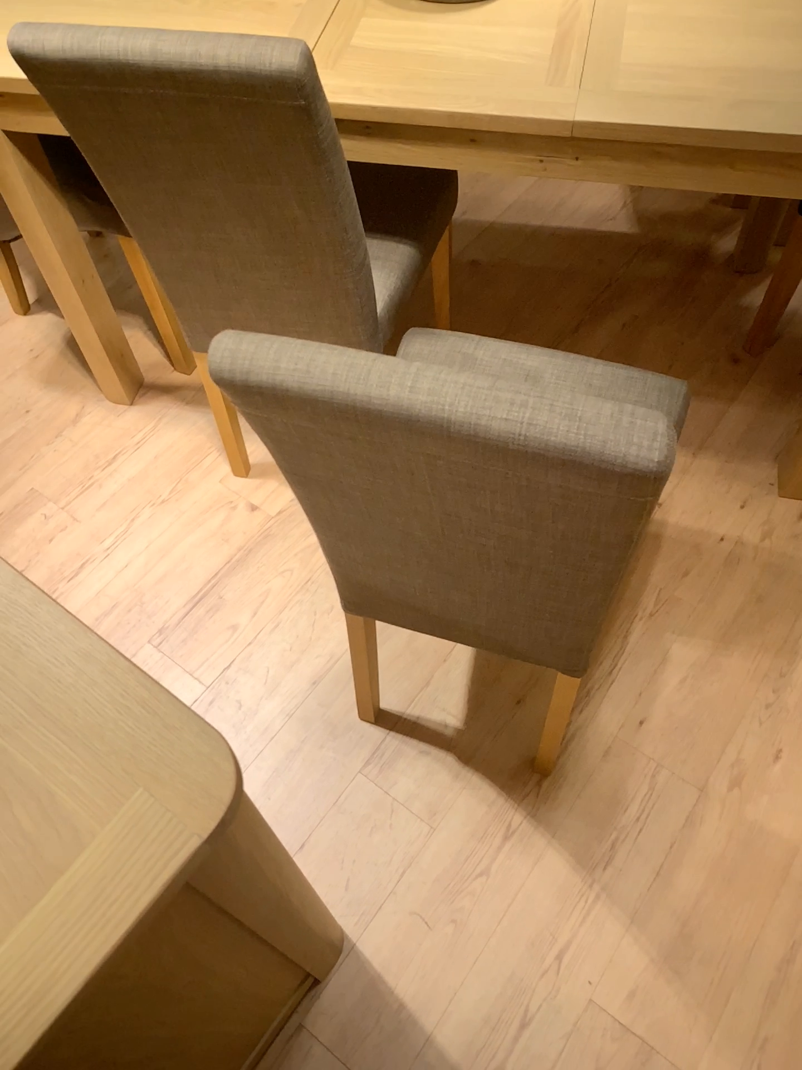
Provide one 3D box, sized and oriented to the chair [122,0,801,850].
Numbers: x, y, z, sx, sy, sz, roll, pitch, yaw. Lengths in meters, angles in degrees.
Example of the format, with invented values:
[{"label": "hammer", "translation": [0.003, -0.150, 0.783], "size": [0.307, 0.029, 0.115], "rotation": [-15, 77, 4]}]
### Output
[{"label": "chair", "translation": [0.152, -0.079, 1.078], "size": [0.491, 0.953, 0.614], "rotation": [14, 58, 12]}]
